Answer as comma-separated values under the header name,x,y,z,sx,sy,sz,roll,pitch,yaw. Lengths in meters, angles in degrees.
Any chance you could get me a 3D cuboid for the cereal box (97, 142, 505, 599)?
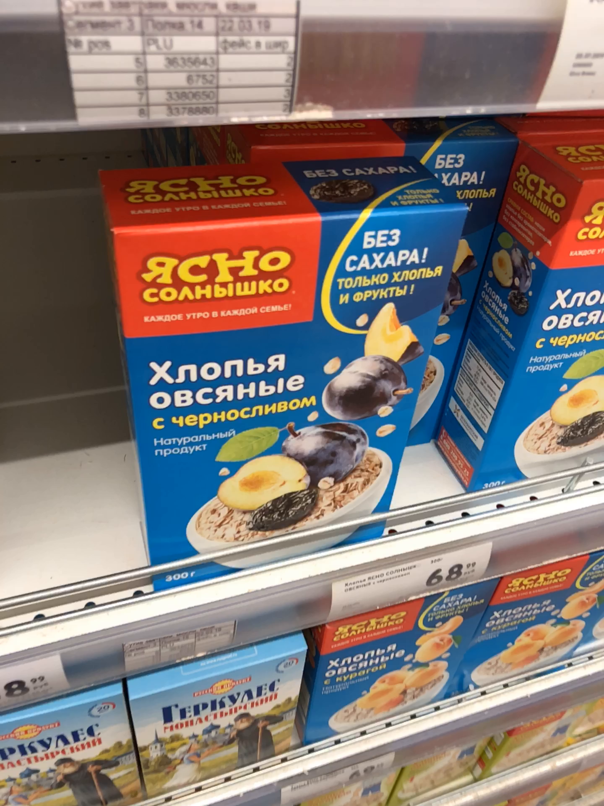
name,x,y,z,sx,sy,sz,roll,pitch,yaw
cereal box,-0.008,-0.004,0.312,0.140,0.209,0.050,-9,43,-16
